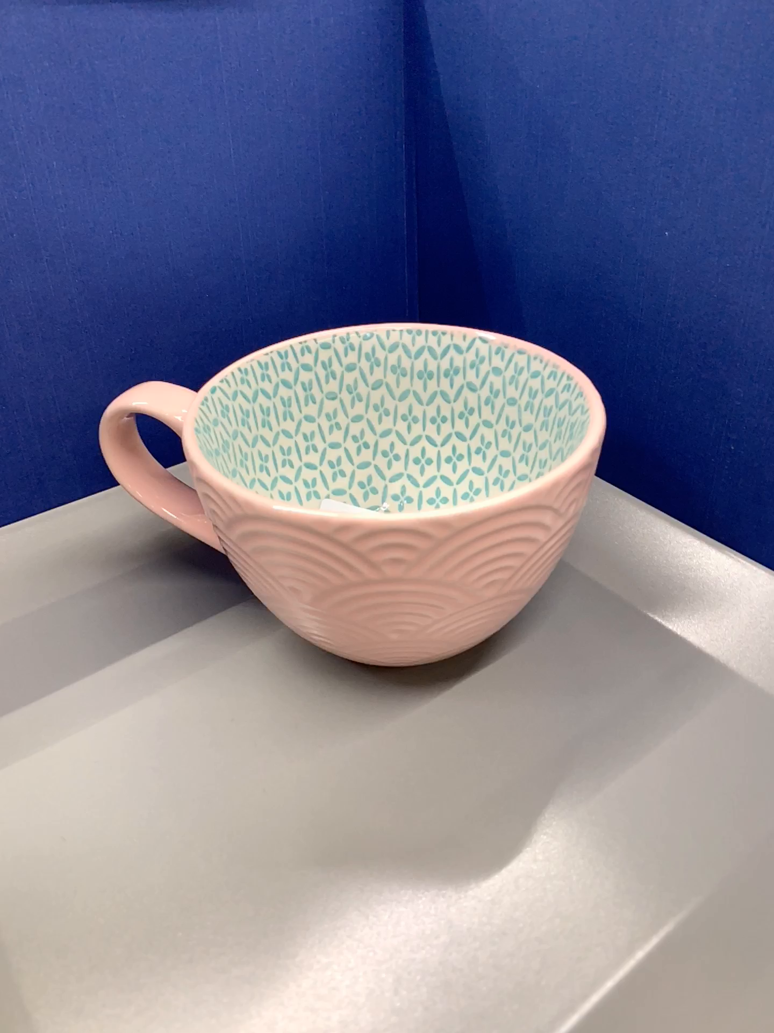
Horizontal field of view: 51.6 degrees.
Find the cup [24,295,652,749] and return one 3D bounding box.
[{"bbox_3d":[-0.006,-0.009,0.247,0.150,0.064,0.105,10,43,18],"label":"cup"}]
